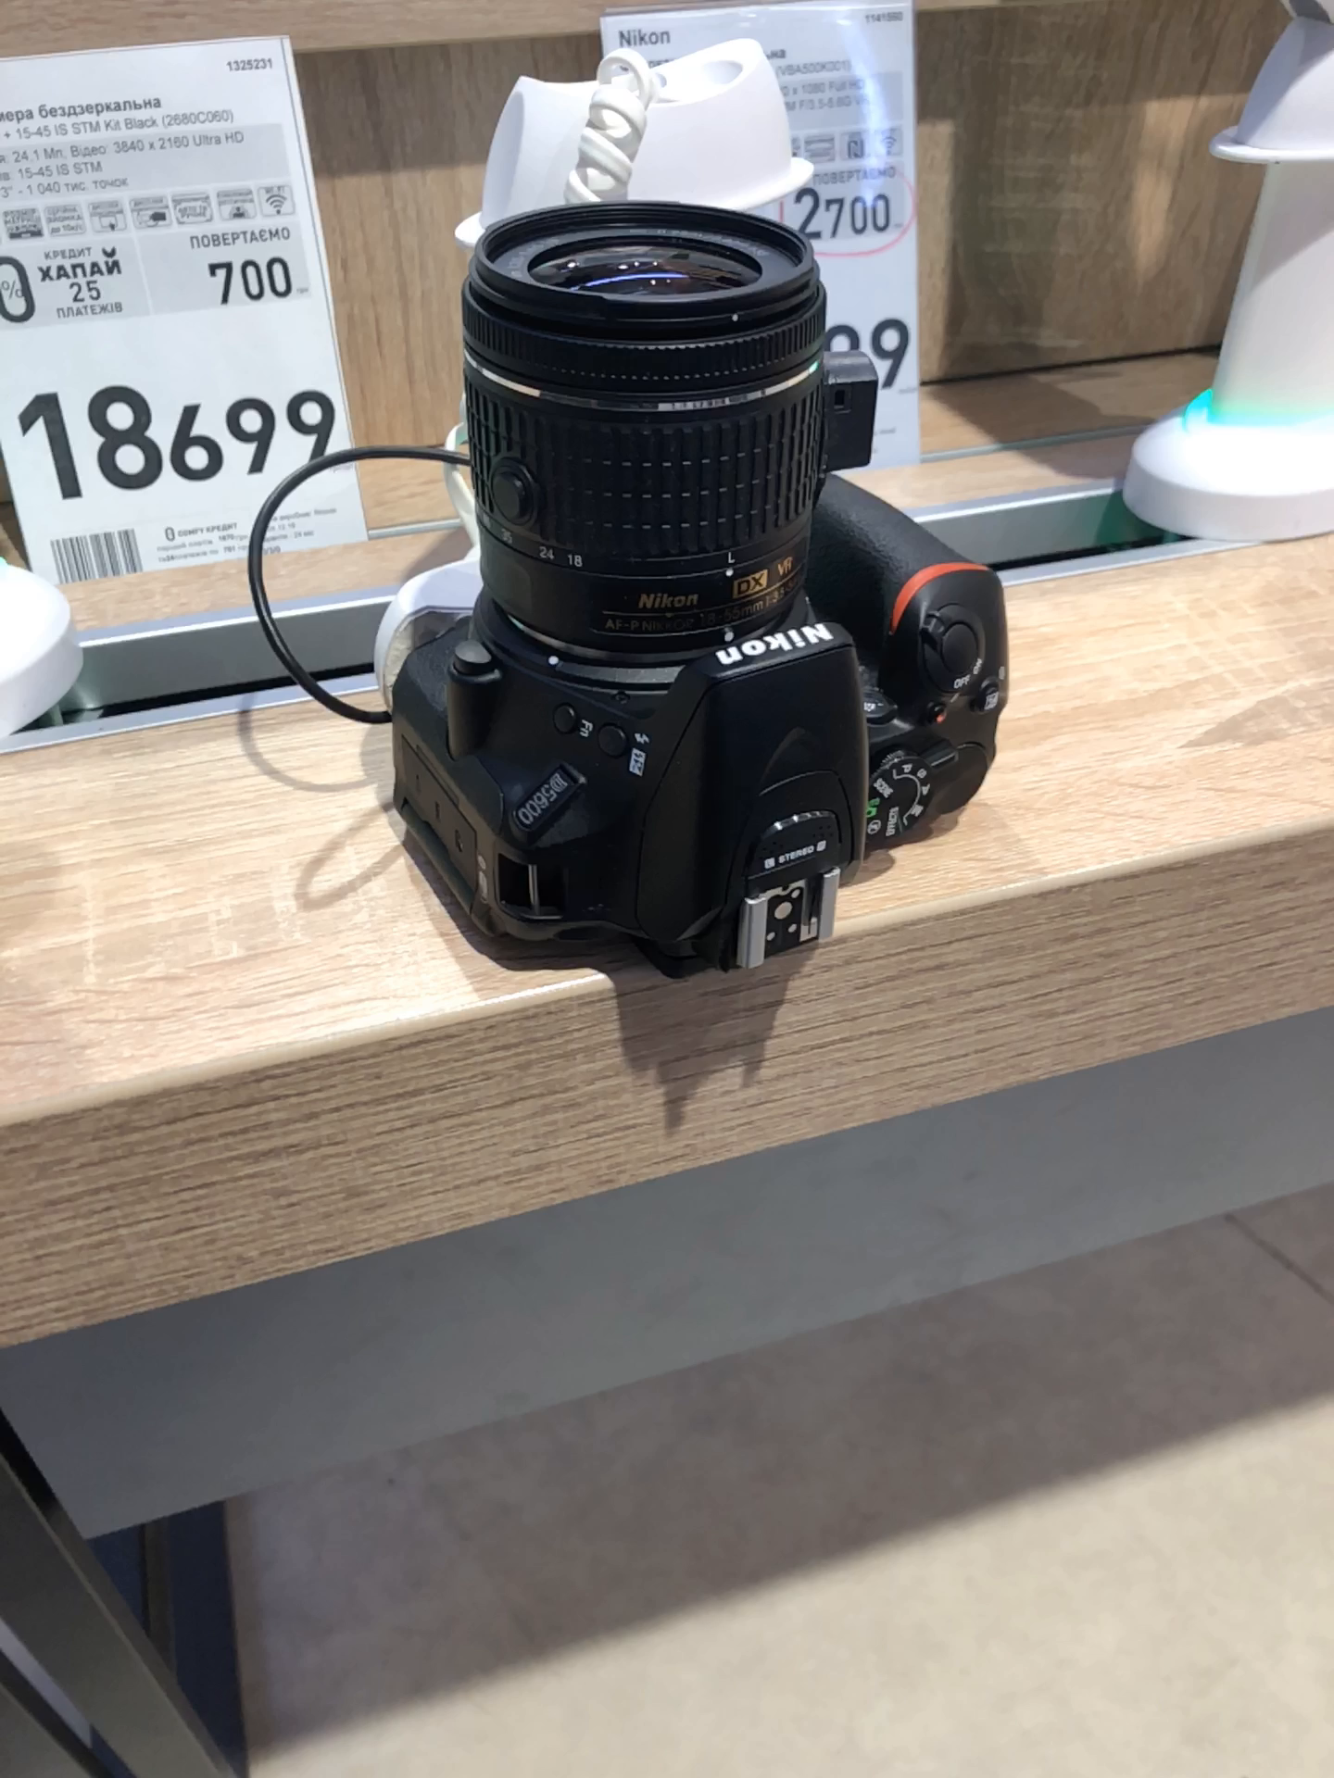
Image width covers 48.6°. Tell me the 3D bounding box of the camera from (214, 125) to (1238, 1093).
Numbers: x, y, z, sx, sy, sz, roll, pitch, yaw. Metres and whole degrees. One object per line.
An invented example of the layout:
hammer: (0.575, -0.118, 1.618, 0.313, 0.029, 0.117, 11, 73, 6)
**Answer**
camera: (0.006, -0.063, 0.288, 0.132, 0.117, 0.116, -22, 45, -23)
